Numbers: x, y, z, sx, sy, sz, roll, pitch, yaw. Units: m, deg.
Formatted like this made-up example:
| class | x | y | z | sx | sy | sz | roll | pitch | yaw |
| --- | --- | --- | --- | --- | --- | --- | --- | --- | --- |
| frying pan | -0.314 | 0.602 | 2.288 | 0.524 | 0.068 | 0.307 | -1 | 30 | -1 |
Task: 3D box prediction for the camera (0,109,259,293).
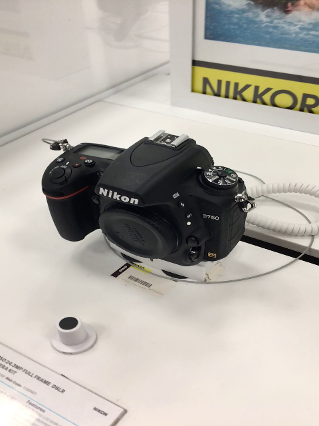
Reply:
| class | x | y | z | sx | sy | sz | roll | pitch | yaw |
| --- | --- | --- | --- | --- | --- | --- | --- | --- | --- |
| camera | -0.022 | -0.013 | 0.328 | 0.154 | 0.093 | 0.079 | 18 | 47 | 22 |
